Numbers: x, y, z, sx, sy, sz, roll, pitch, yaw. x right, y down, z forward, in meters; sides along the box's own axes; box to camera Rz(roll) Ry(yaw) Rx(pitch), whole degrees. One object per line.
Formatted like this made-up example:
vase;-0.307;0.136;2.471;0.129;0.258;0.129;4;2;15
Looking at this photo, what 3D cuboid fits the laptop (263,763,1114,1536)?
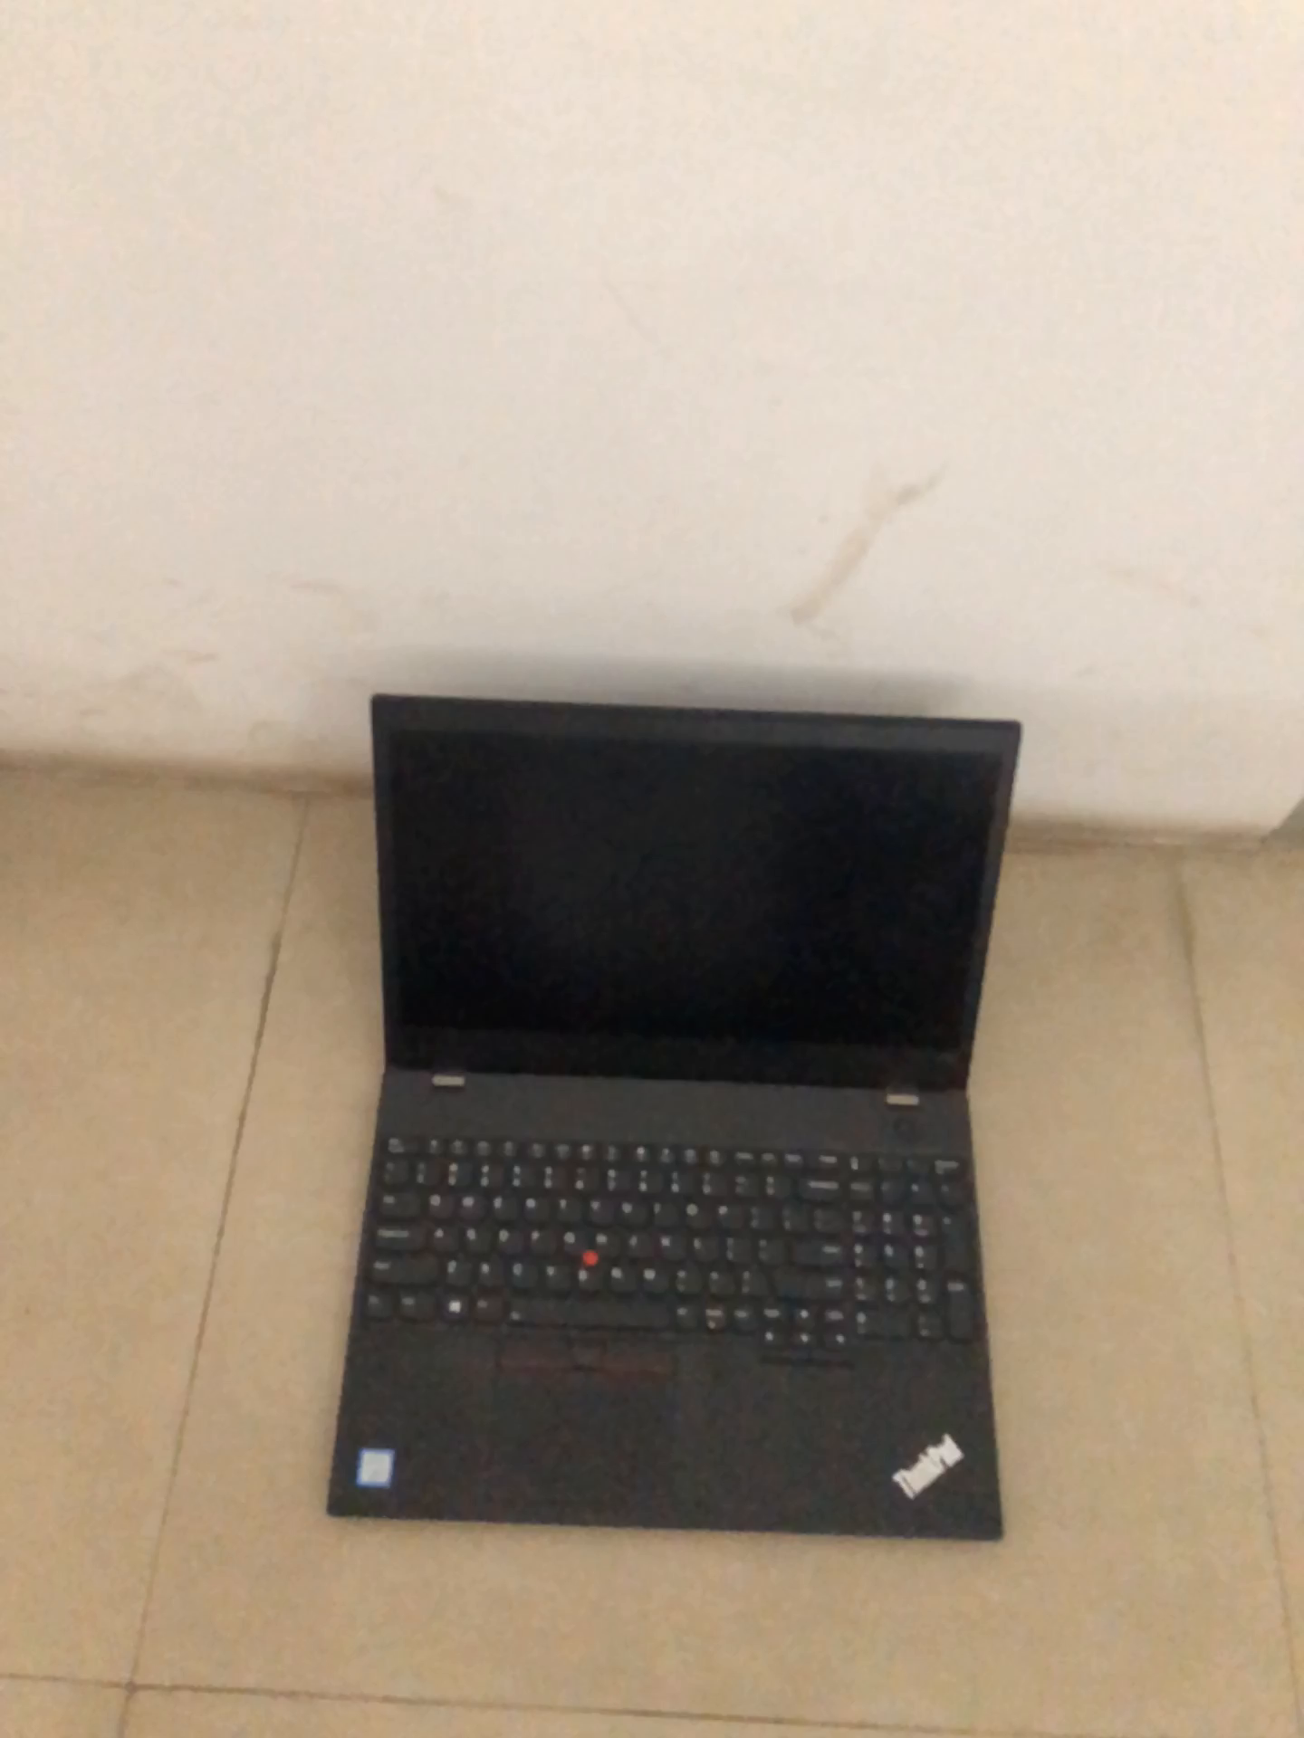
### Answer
laptop;0.014;0.147;0.759;0.344;0.193;0.364;3;56;-3
